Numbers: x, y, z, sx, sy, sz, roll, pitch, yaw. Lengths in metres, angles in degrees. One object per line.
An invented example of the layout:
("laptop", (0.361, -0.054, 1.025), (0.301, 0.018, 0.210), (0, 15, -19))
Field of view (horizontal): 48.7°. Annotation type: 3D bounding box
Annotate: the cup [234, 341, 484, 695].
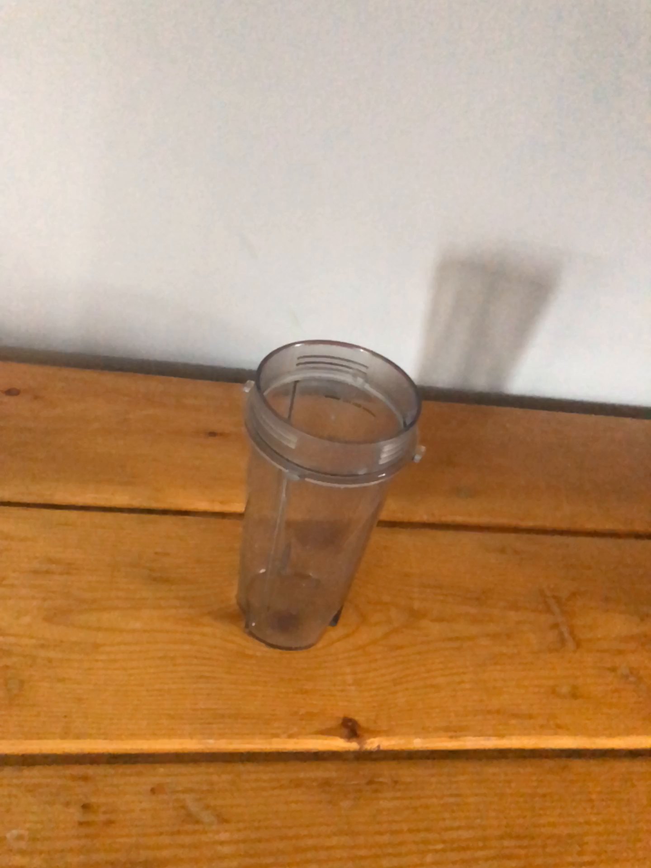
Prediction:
("cup", (0.005, 0.052, 0.402), (0.080, 0.189, 0.090), (-3, 44, -18))
